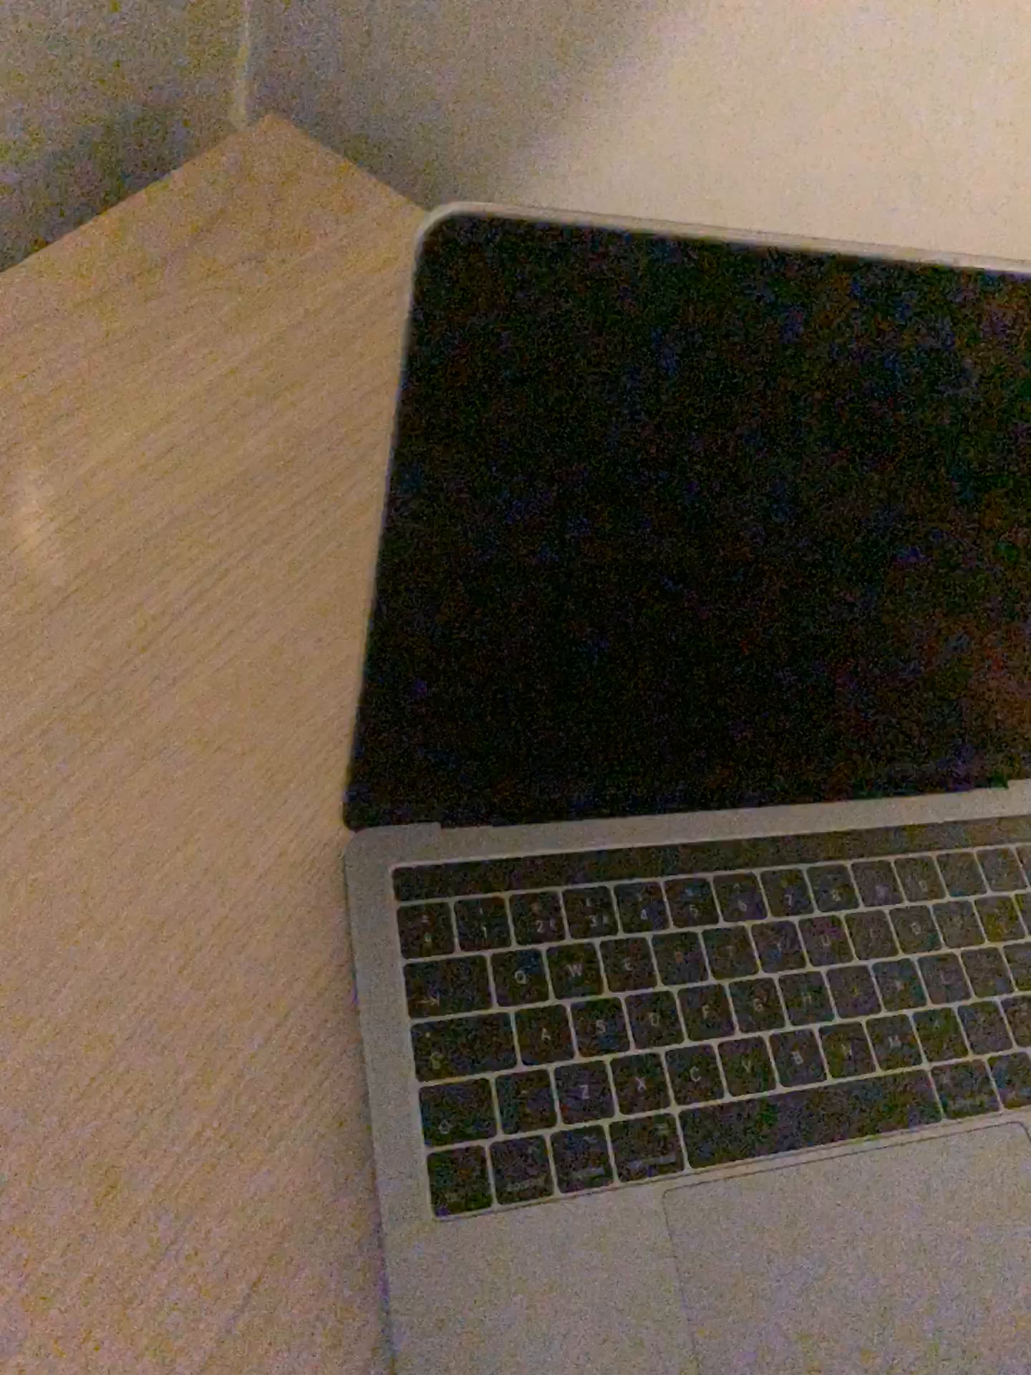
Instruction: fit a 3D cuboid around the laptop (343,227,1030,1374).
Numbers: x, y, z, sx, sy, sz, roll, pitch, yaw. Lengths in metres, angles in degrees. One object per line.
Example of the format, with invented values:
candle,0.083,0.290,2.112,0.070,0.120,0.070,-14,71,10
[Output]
laptop,0.124,0.063,0.279,0.294,0.198,0.257,-2,61,-17
